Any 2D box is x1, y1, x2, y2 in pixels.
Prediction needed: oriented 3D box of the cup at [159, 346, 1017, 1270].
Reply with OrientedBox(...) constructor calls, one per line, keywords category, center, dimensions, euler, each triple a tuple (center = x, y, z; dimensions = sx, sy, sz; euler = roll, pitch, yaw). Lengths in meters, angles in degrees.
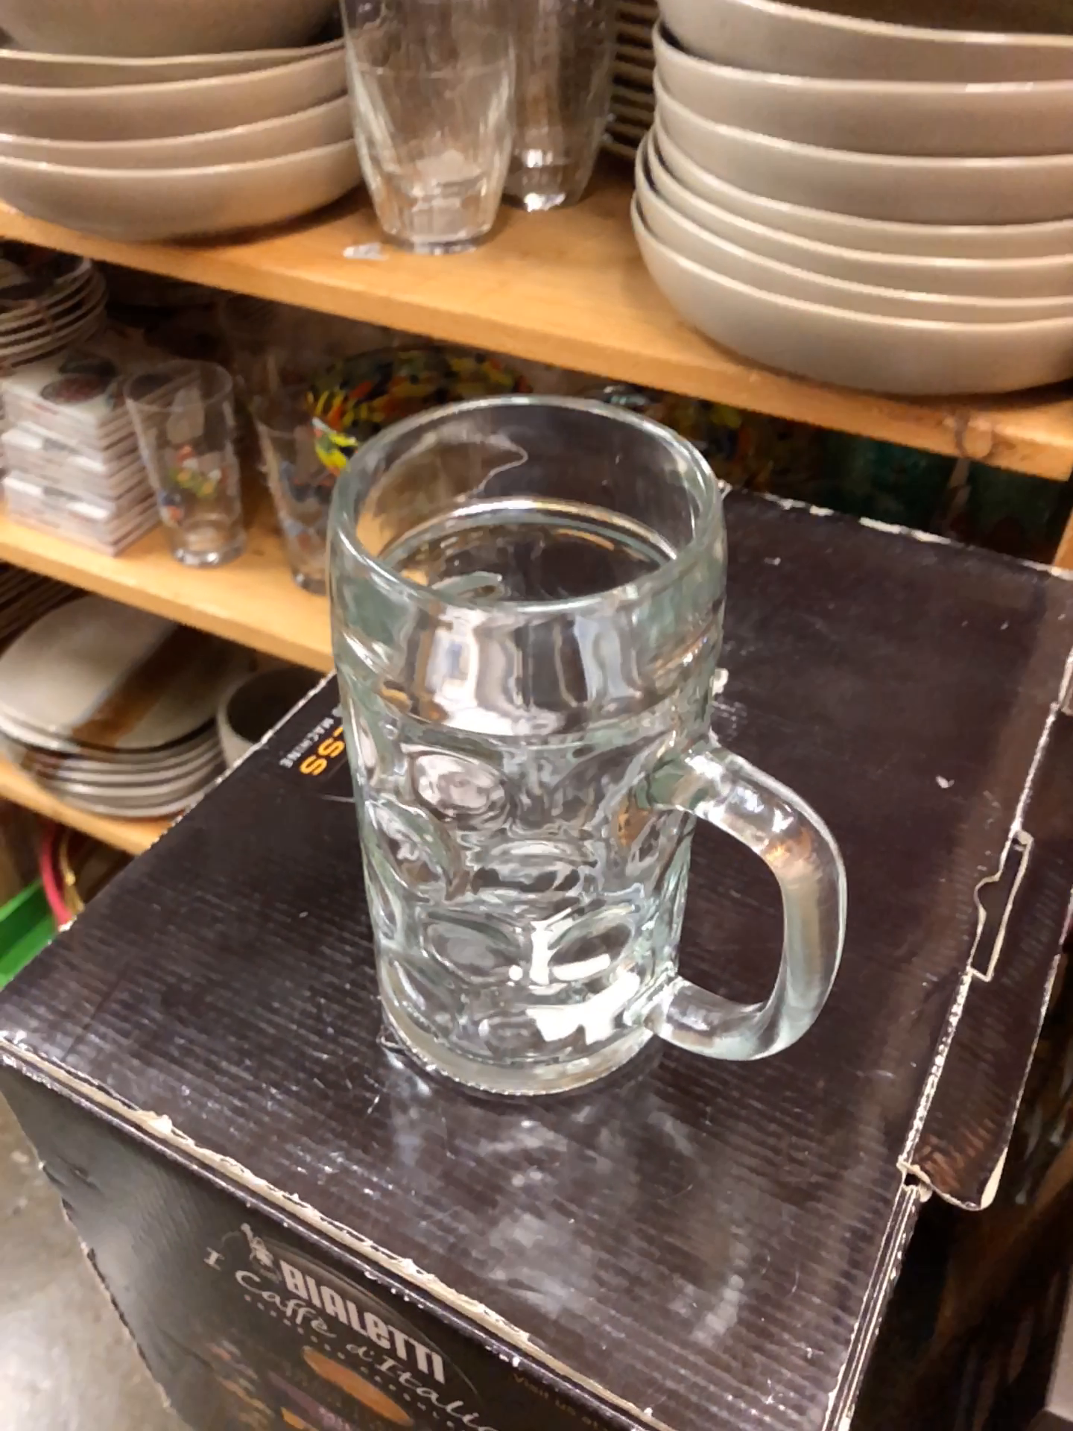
OrientedBox(category="cup", center=(0.008, 0.016, 0.272), dimensions=(0.129, 0.136, 0.100), euler=(30, 50, 29))
